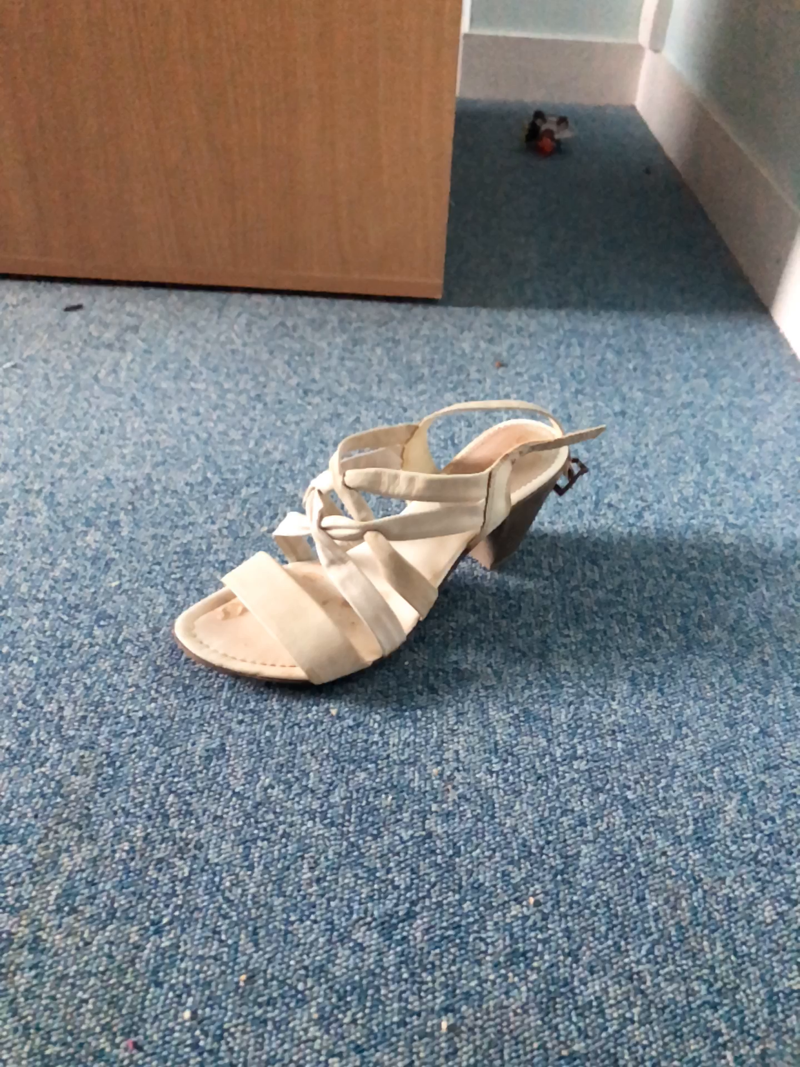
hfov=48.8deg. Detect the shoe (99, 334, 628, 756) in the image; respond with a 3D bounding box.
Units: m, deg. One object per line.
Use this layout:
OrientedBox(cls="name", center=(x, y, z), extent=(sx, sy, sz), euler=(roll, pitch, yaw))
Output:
OrientedBox(cls="shoe", center=(-0.013, -0.007, 0.462), extent=(0.241, 0.109, 0.100), euler=(-22, 45, -28))
